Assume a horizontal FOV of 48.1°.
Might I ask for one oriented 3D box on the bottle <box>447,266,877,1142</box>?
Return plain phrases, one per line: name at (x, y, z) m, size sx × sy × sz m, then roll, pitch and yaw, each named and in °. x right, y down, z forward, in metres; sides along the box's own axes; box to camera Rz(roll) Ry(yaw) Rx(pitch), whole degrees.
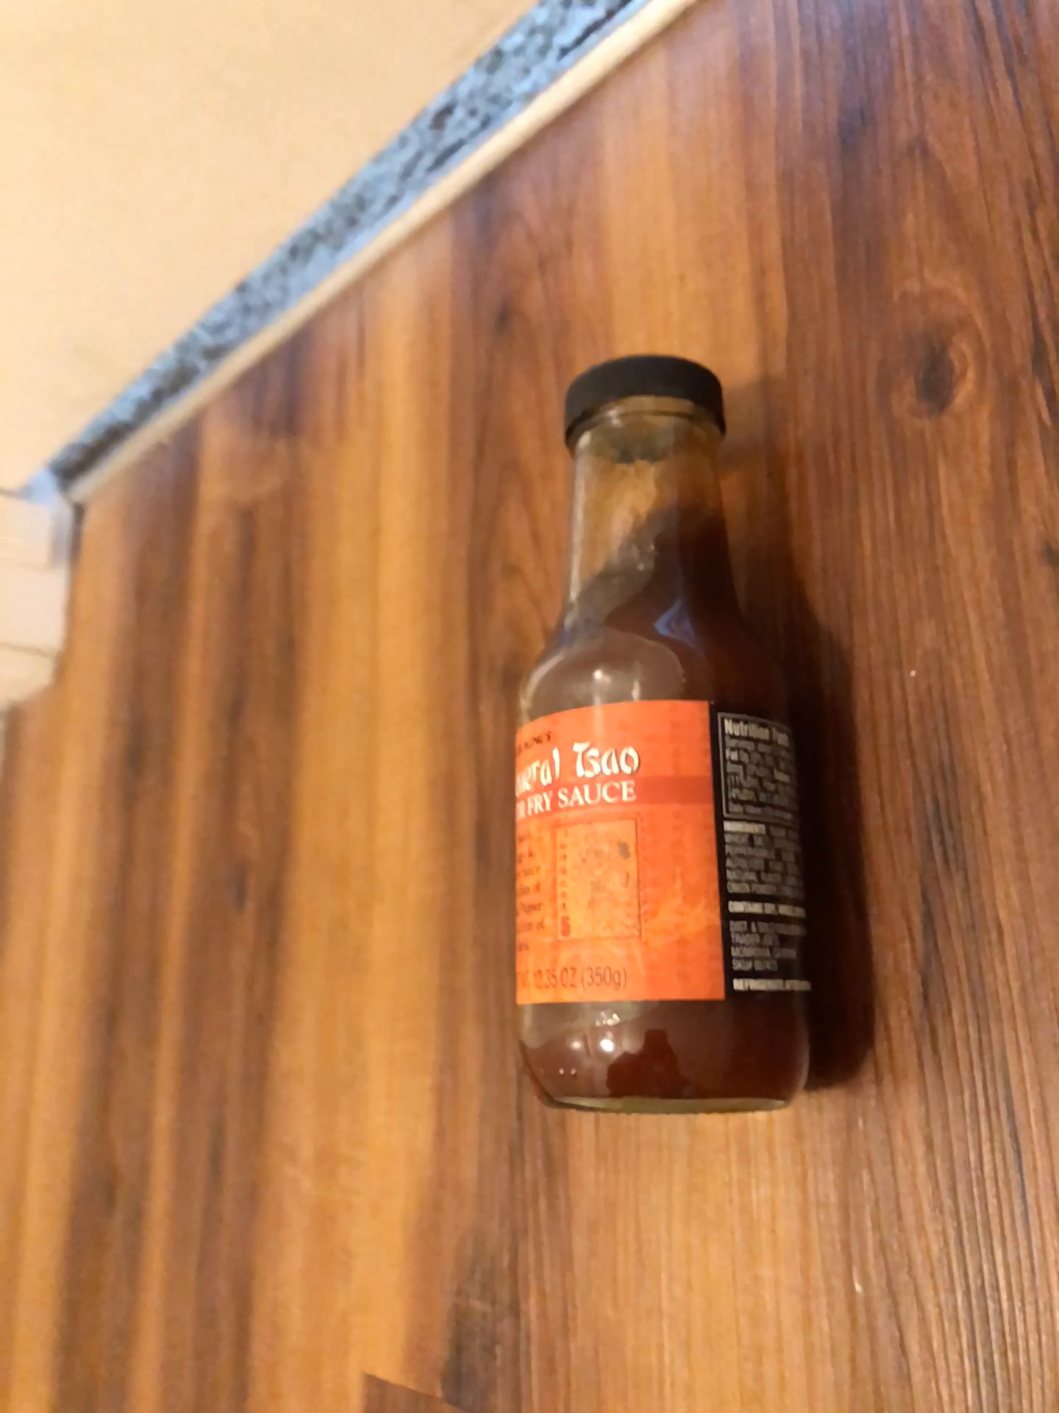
bottle at (0.027, 0.003, 0.277) m, size 0.069 × 0.060 × 0.180 m, roll -20°, pitch 64°, yaw 50°
